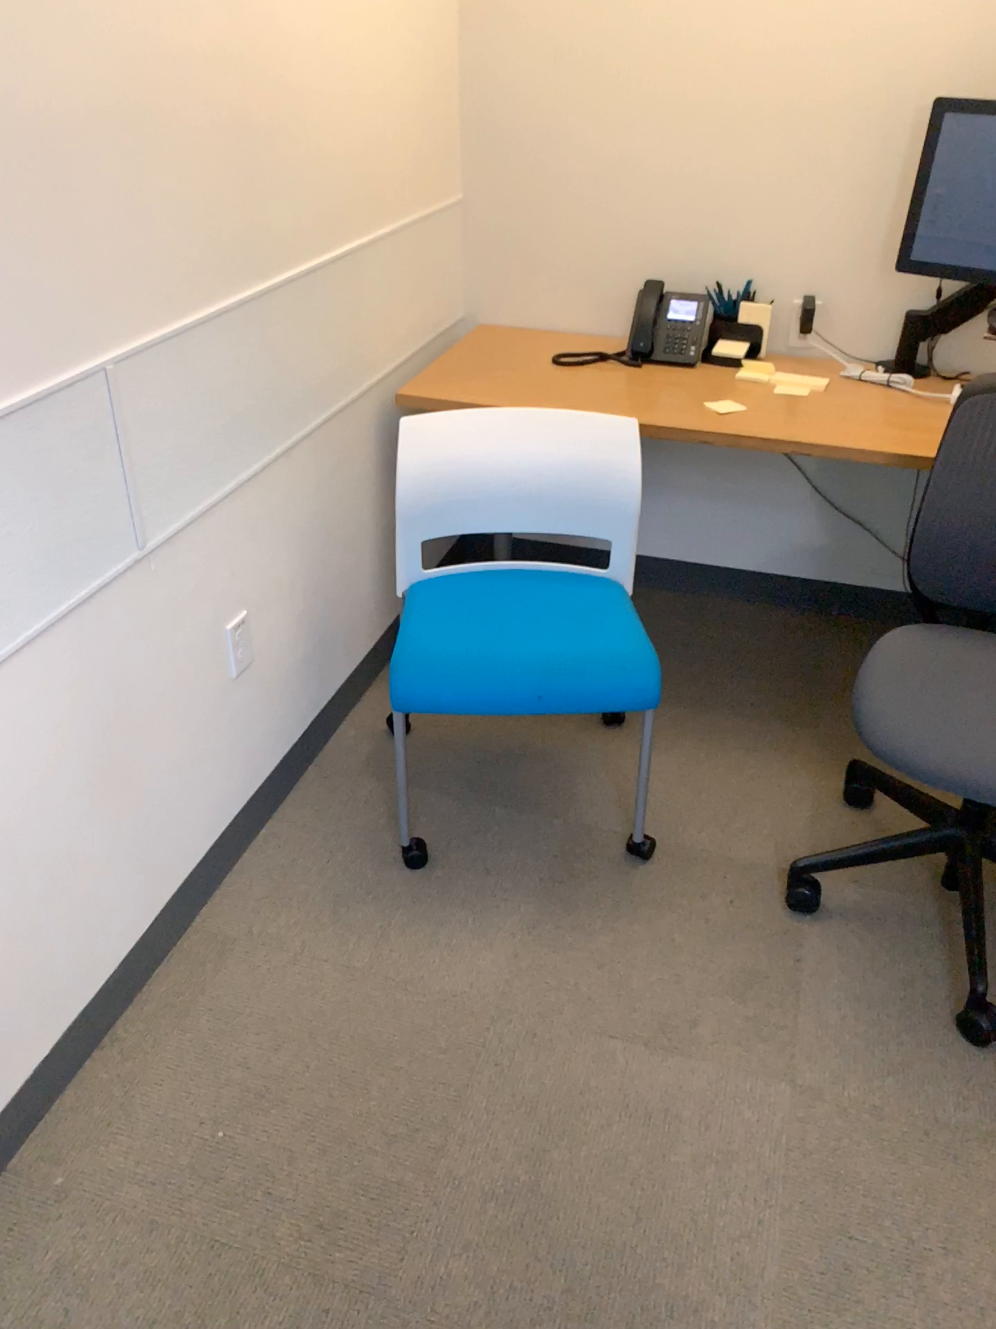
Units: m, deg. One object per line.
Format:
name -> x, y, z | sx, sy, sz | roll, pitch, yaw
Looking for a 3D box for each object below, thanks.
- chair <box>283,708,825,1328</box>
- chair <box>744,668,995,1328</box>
chair -> 0.069, 0.586, 1.511 | 0.530, 0.686, 0.795 | 2, 32, 2
chair -> 0.930, 0.711, 1.301 | 0.752, 0.885, 0.973 | 22, 38, 29
